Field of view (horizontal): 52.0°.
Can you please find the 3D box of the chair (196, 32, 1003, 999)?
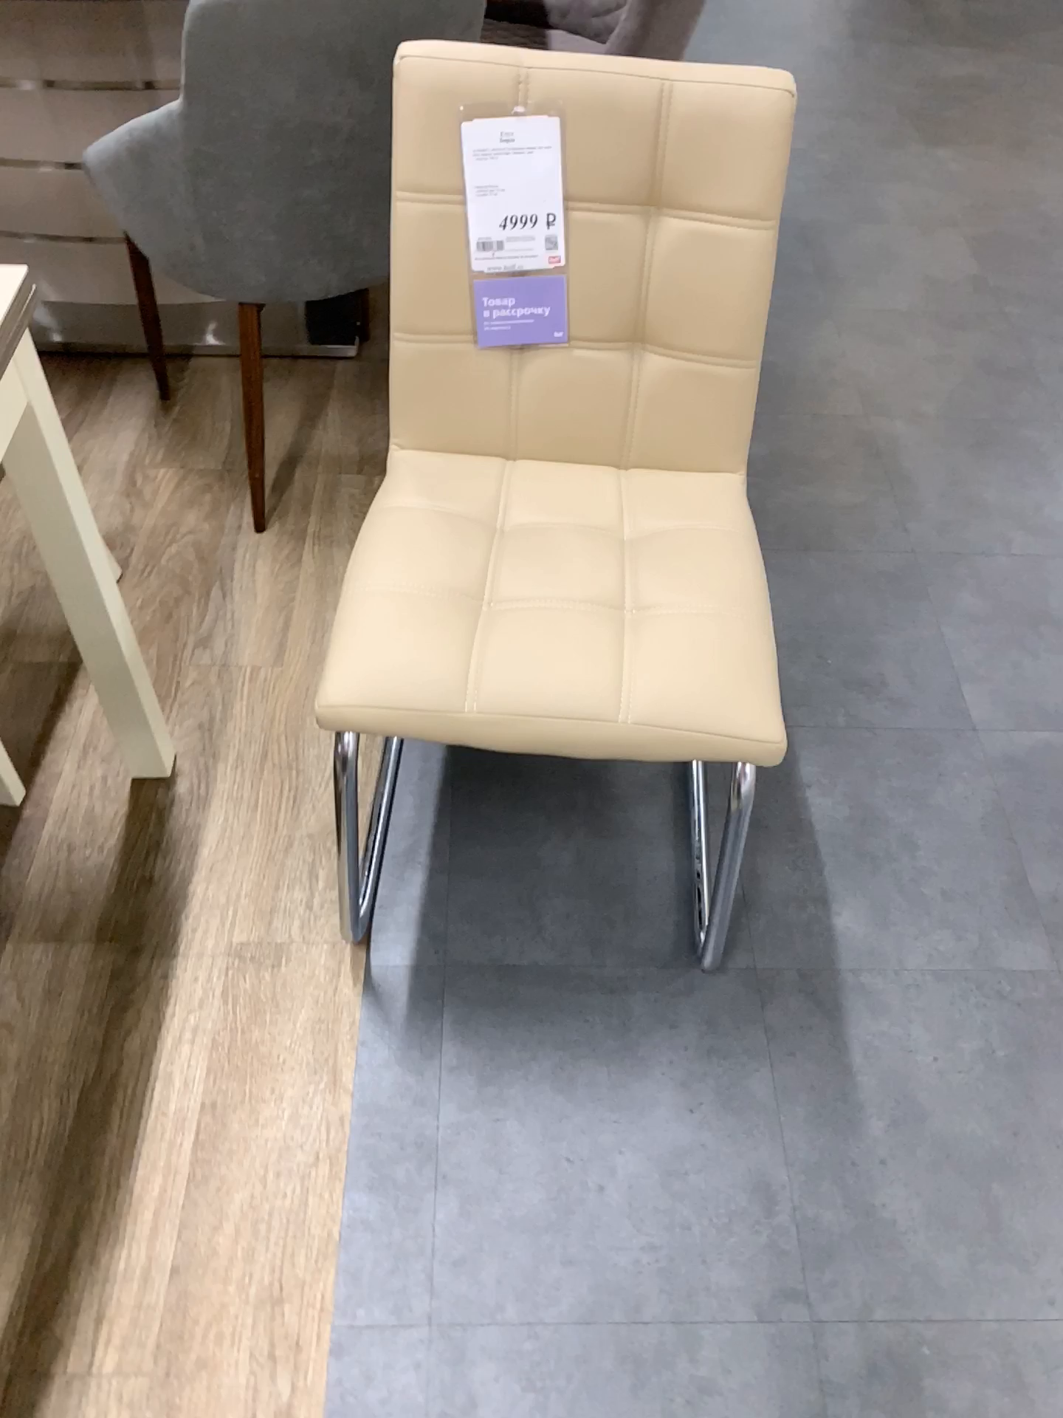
[{"bbox_3d":[0.050,-0.178,1.236,0.530,0.816,0.653,4,49,1],"label":"chair"}]
